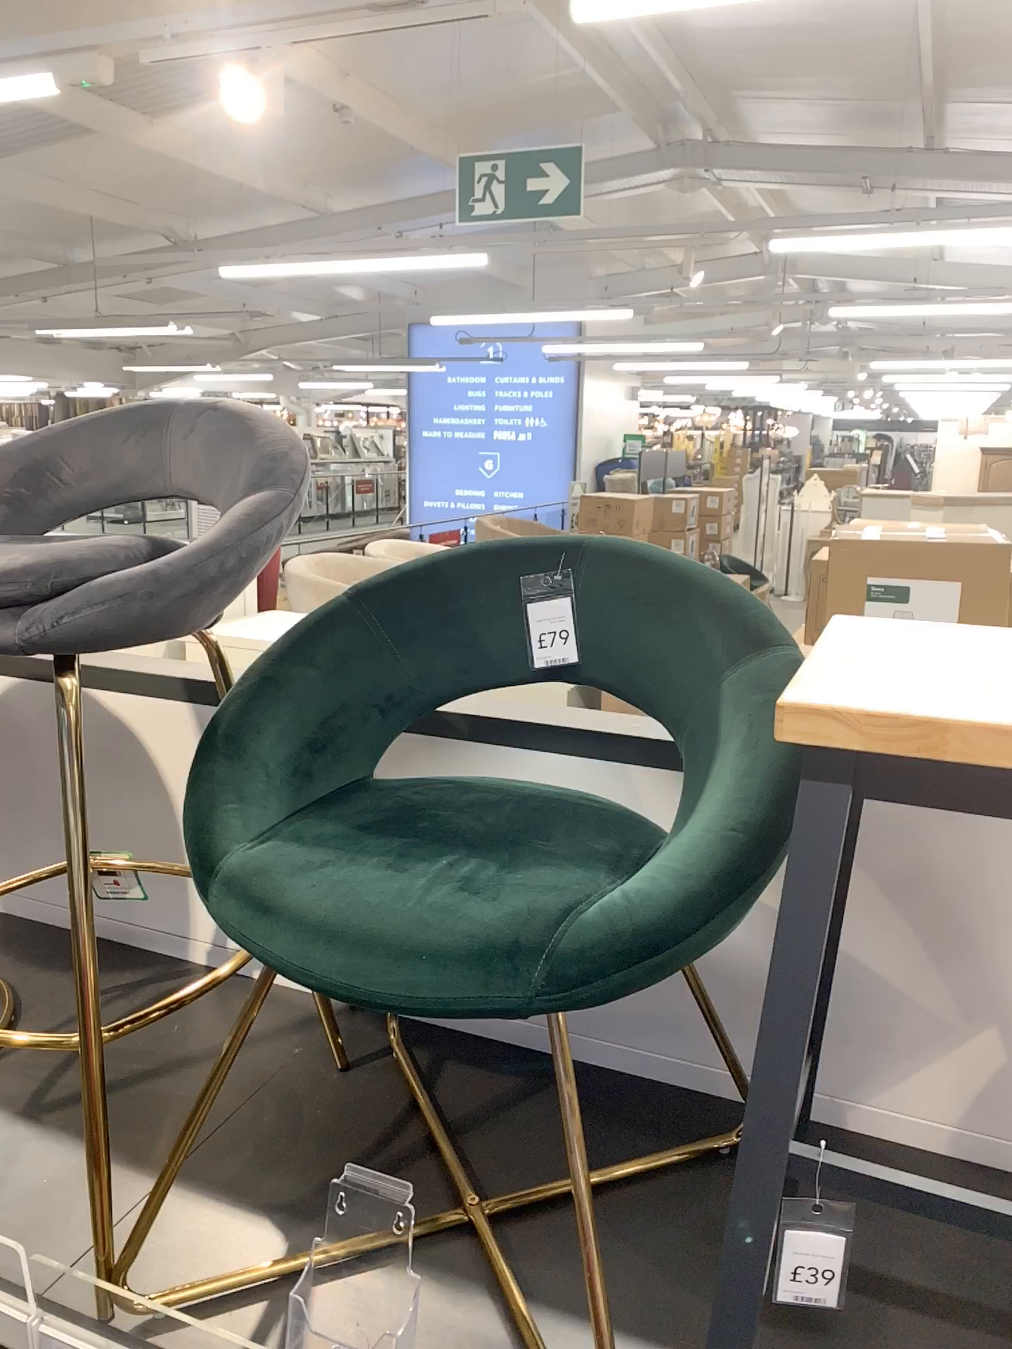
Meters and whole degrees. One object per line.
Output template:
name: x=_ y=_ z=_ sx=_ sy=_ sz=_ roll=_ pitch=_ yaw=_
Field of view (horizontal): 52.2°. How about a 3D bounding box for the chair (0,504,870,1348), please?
chair: x=-0.018 y=0.206 z=1.075 sx=0.634 sy=0.697 sz=0.671 roll=7 pitch=13 yaw=23
